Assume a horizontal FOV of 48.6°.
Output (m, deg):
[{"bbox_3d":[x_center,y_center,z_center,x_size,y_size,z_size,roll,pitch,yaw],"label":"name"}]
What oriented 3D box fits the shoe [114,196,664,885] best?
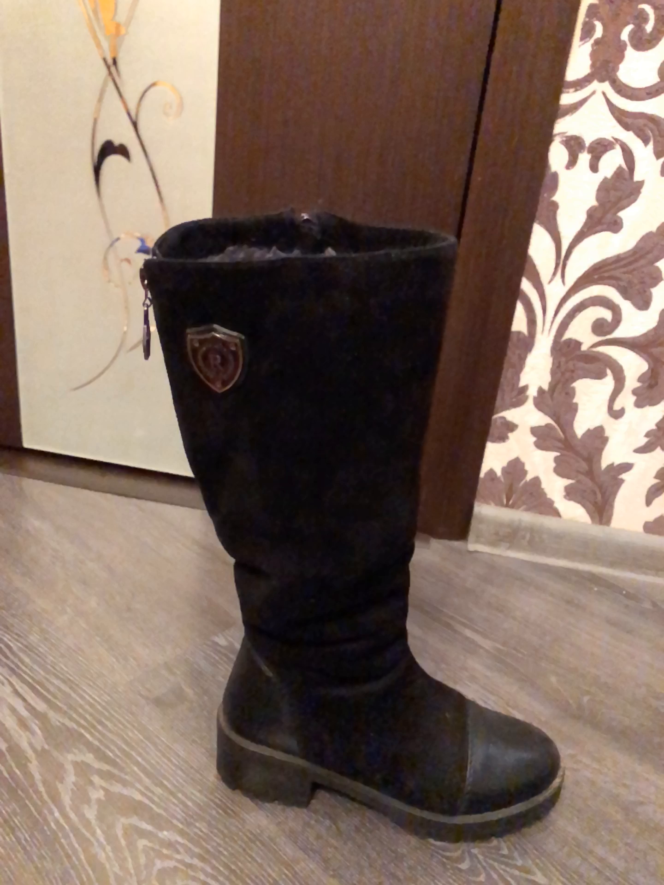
[{"bbox_3d":[0.039,0.066,0.426,0.290,0.358,0.121,7,23,1],"label":"shoe"}]
